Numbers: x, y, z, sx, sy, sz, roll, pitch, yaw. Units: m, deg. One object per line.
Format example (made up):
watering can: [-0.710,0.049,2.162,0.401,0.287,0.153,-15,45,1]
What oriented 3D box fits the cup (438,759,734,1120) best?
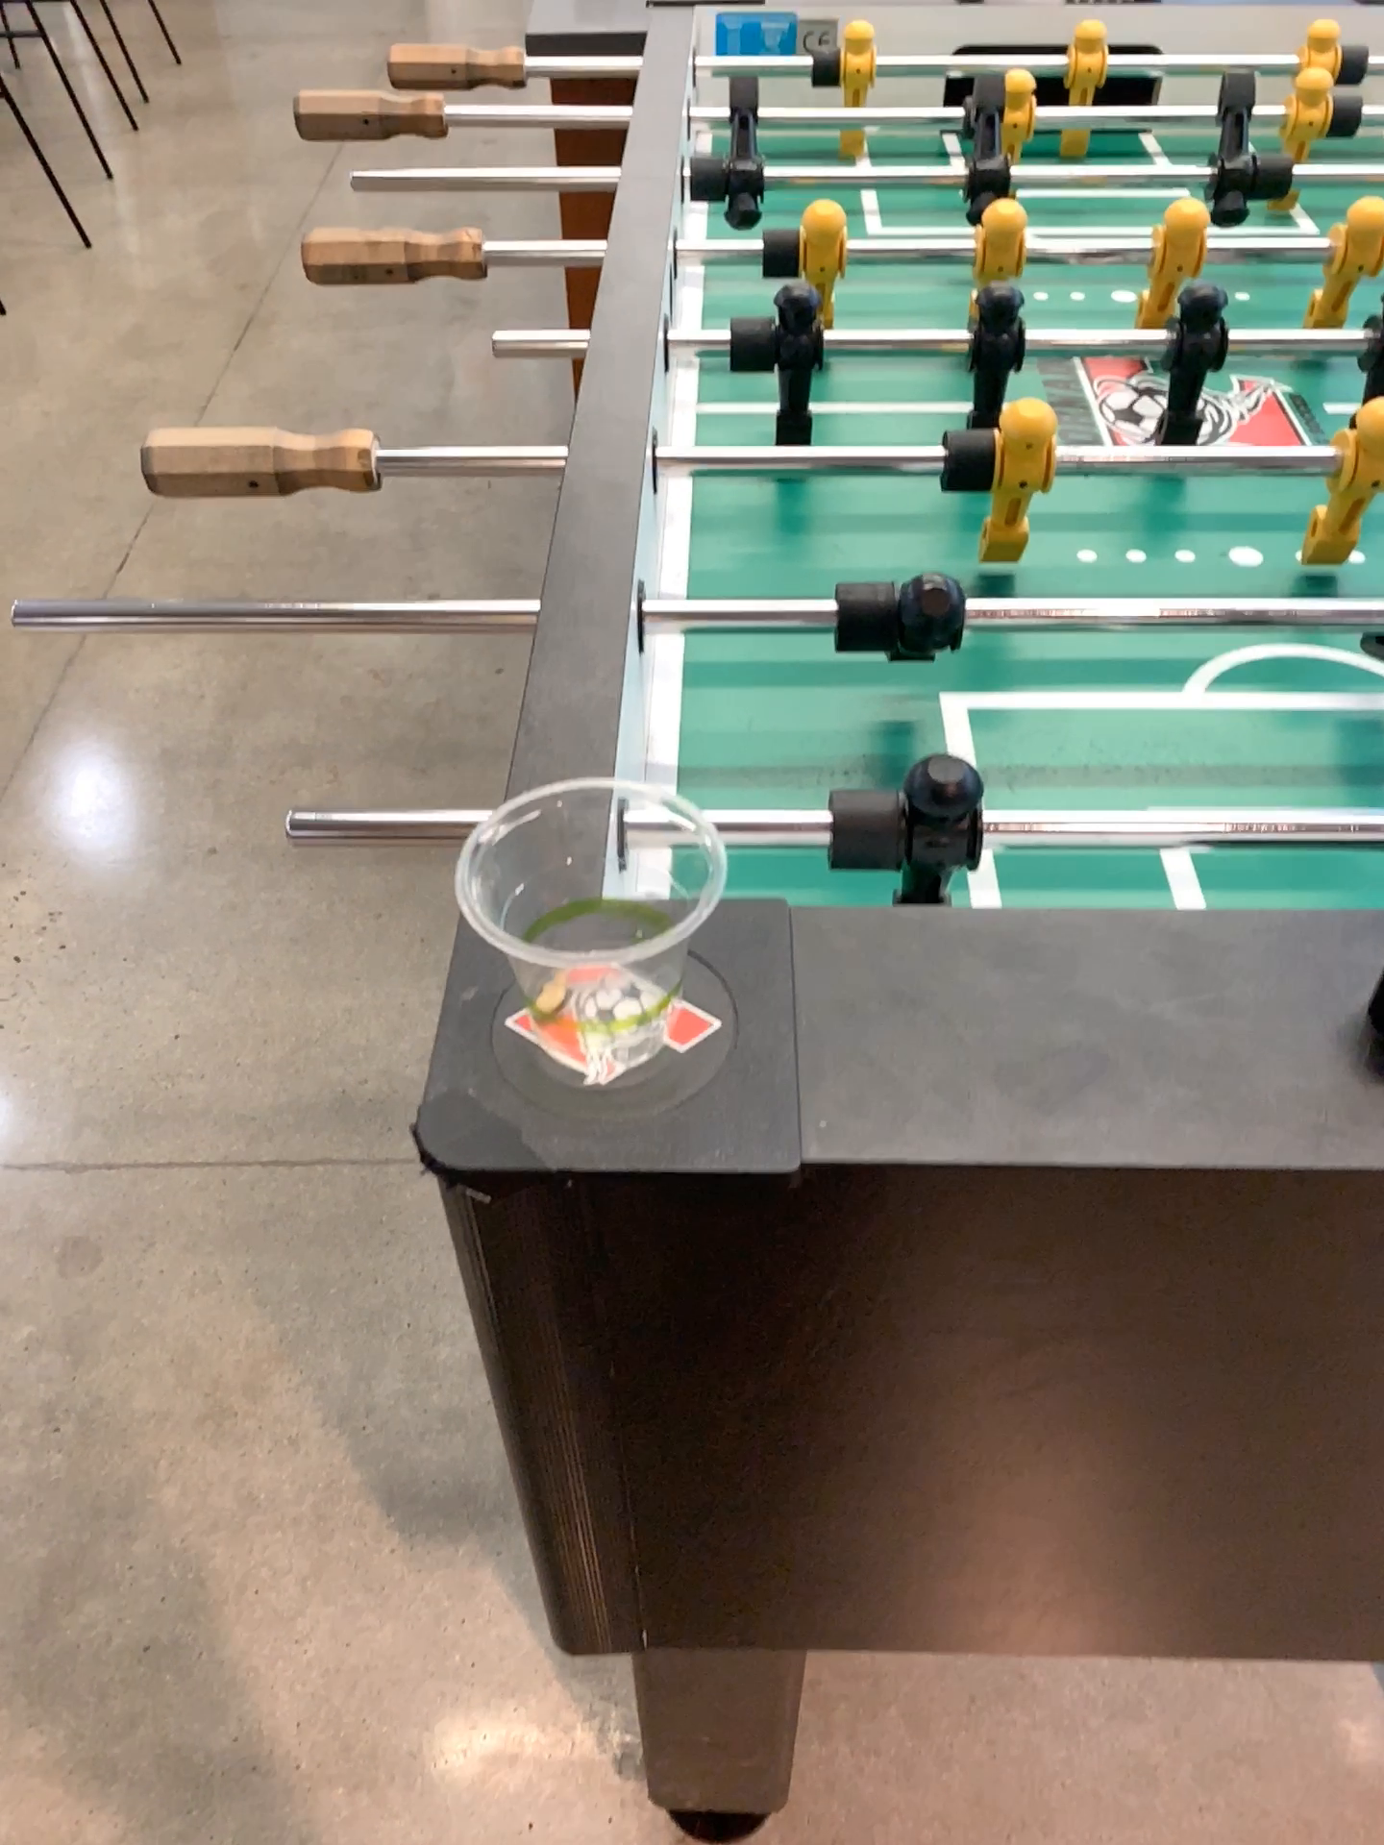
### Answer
cup: [-0.030,0.004,0.395,0.070,0.060,0.070,-1,45,1]
